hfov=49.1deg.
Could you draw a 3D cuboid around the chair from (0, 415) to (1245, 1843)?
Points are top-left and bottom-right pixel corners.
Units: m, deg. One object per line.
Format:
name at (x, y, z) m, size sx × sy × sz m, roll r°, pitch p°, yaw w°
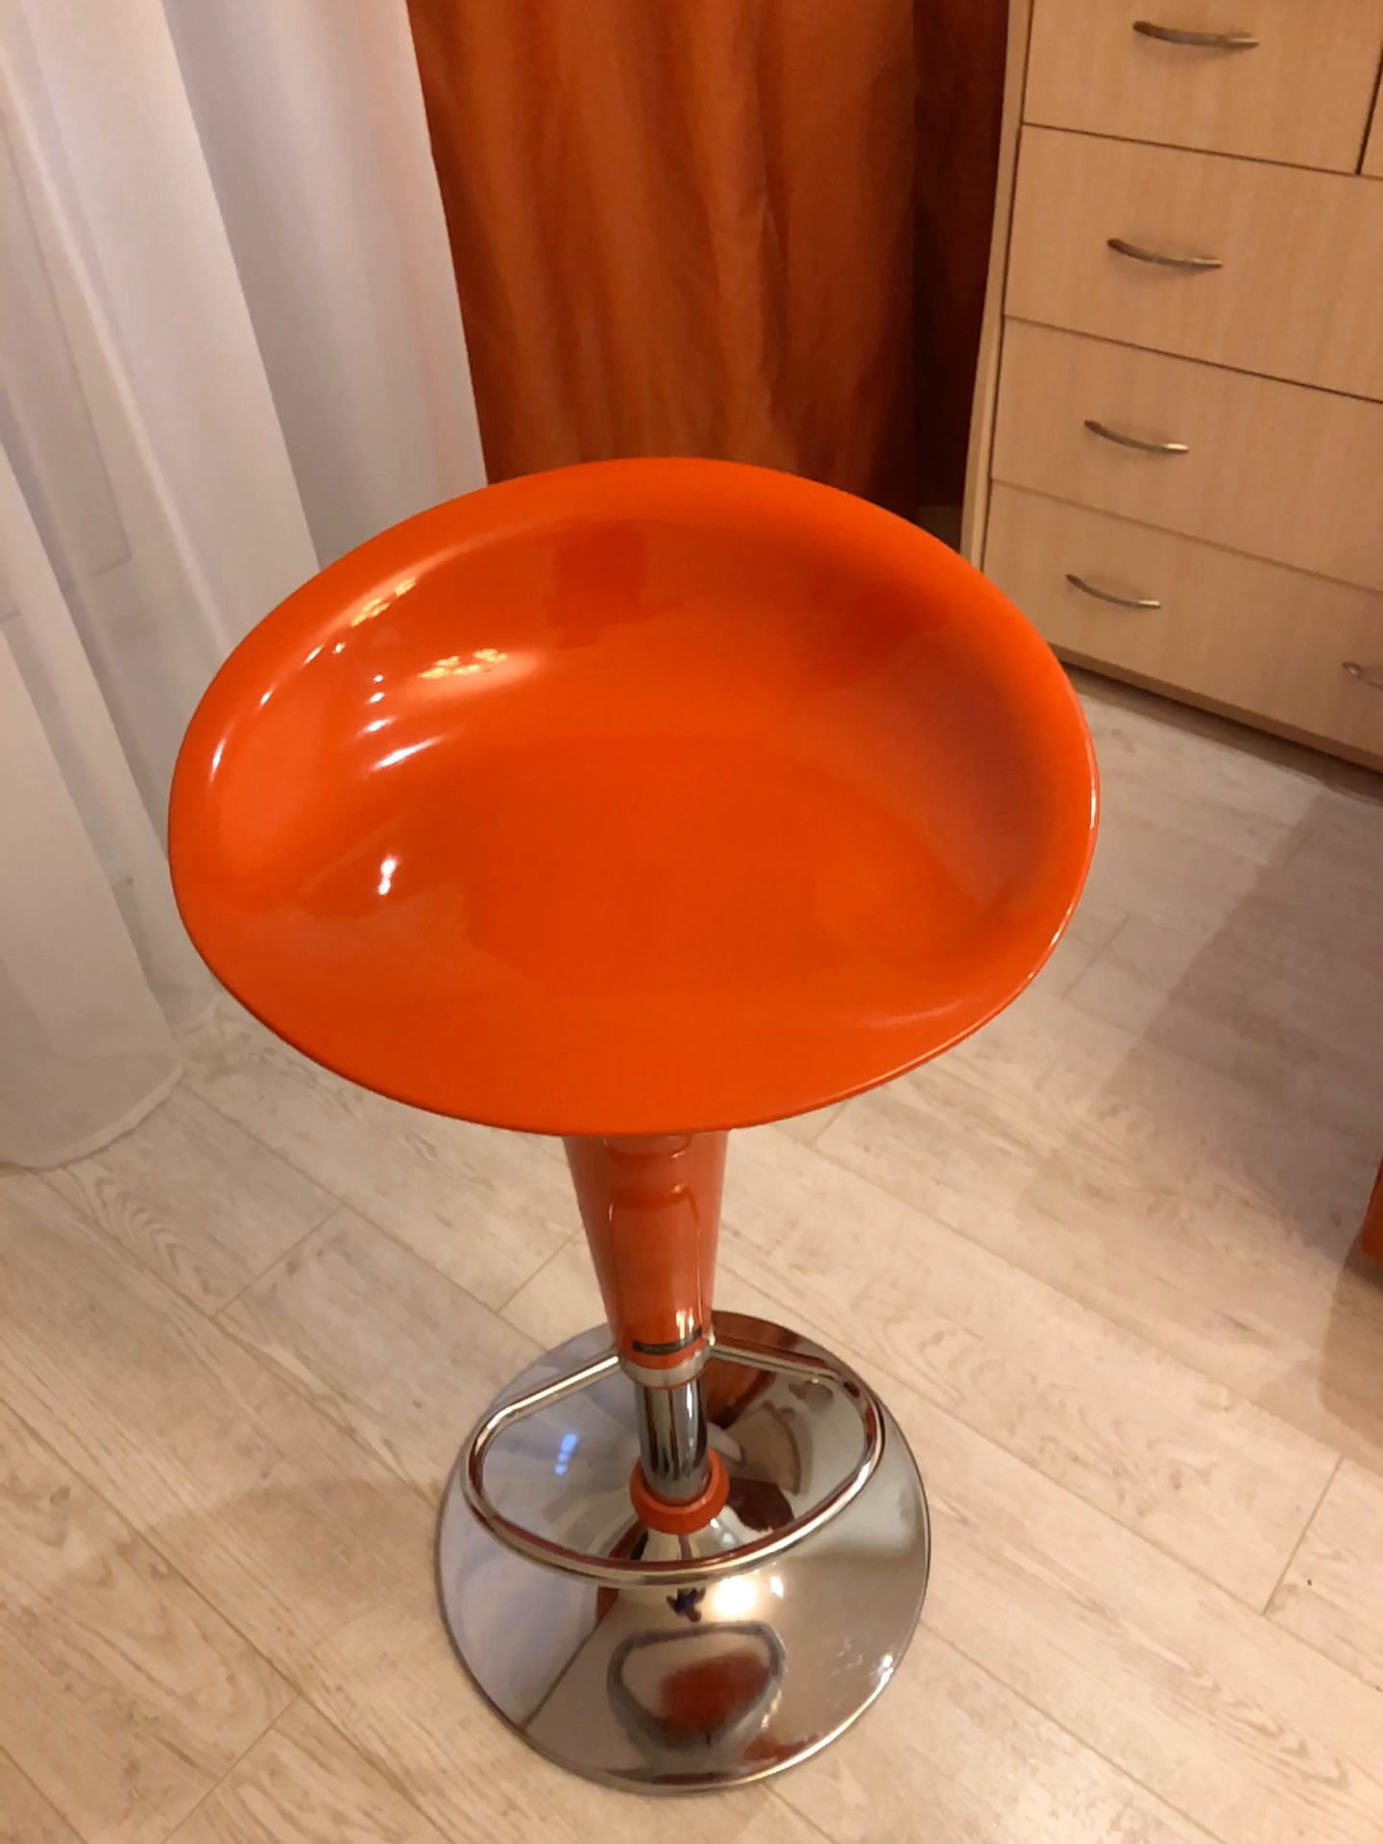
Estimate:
chair at (-0.022, 0.168, 0.835) m, size 0.400 × 0.735 × 0.393 m, roll -2°, pitch 42°, yaw 2°
